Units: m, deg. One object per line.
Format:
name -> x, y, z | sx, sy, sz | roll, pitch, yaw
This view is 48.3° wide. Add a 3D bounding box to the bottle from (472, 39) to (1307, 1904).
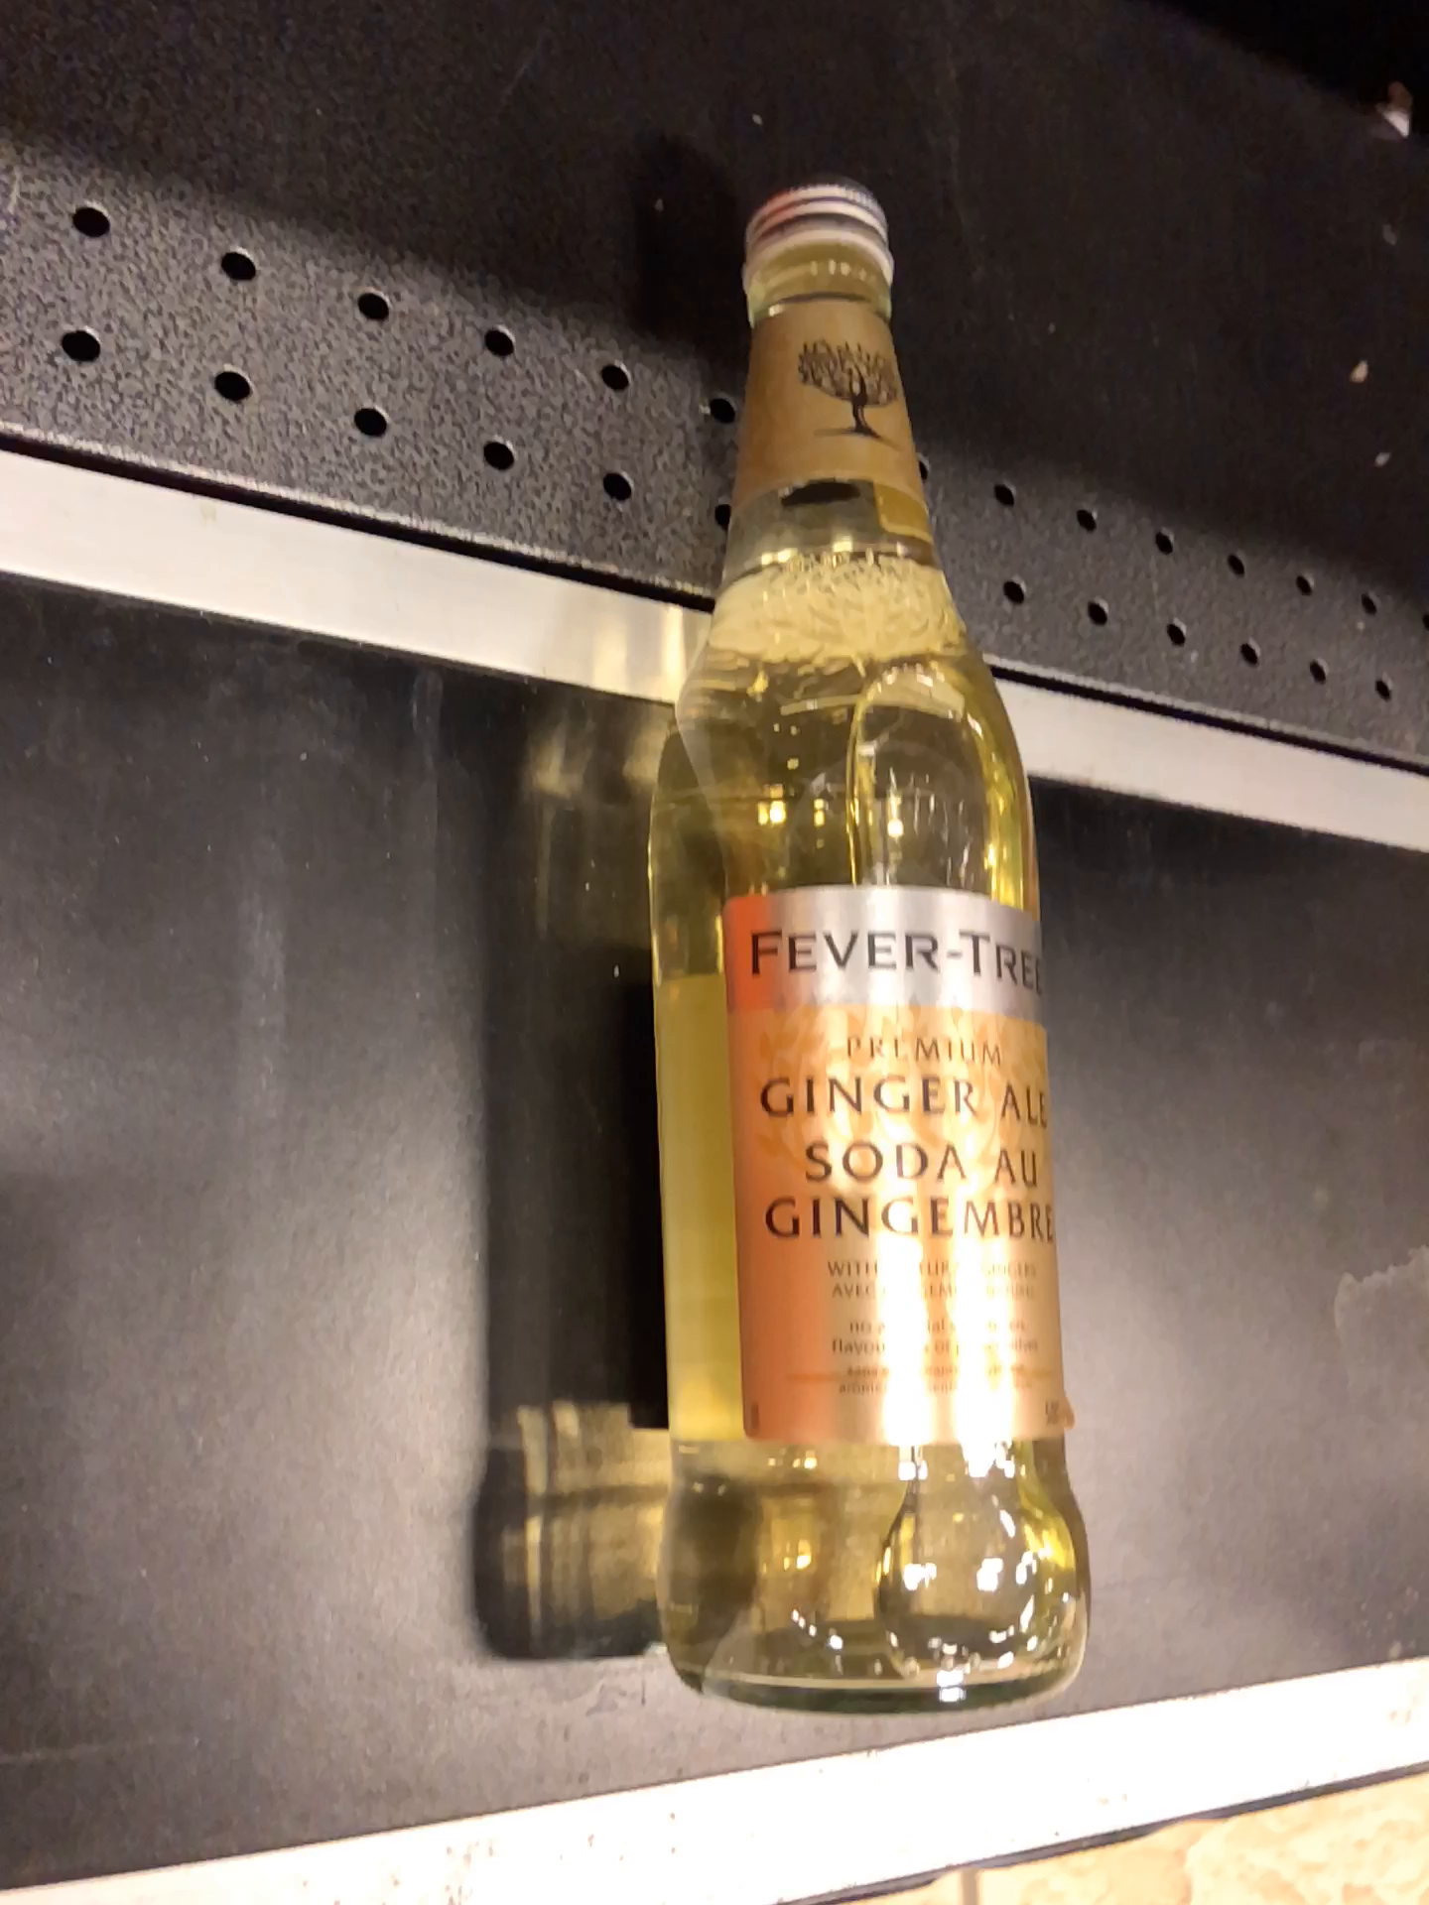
bottle -> 0.019, 0.006, 0.276 | 0.090, 0.090, 0.280 | 7, 73, -28
